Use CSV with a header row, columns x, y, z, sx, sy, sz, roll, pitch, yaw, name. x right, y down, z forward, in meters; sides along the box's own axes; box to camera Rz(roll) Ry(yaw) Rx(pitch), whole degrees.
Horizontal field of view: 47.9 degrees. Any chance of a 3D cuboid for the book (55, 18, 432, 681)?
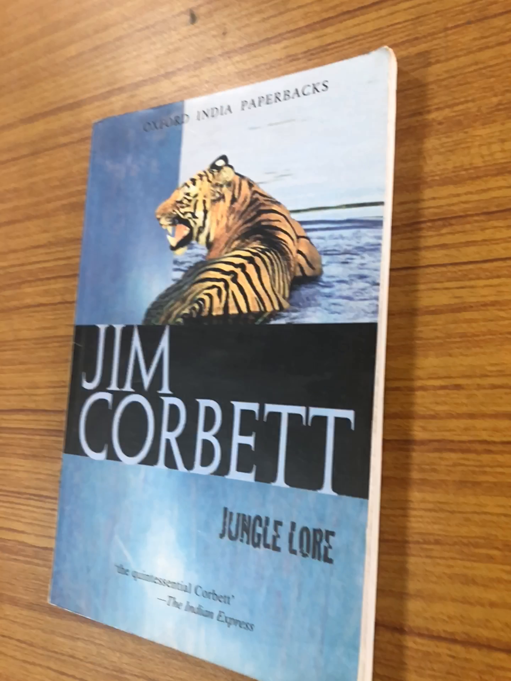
x,y,z,sx,sy,sz,roll,pitch,yaw,name
-0.013,0.004,0.222,0.150,0.010,0.220,0,84,31,book
